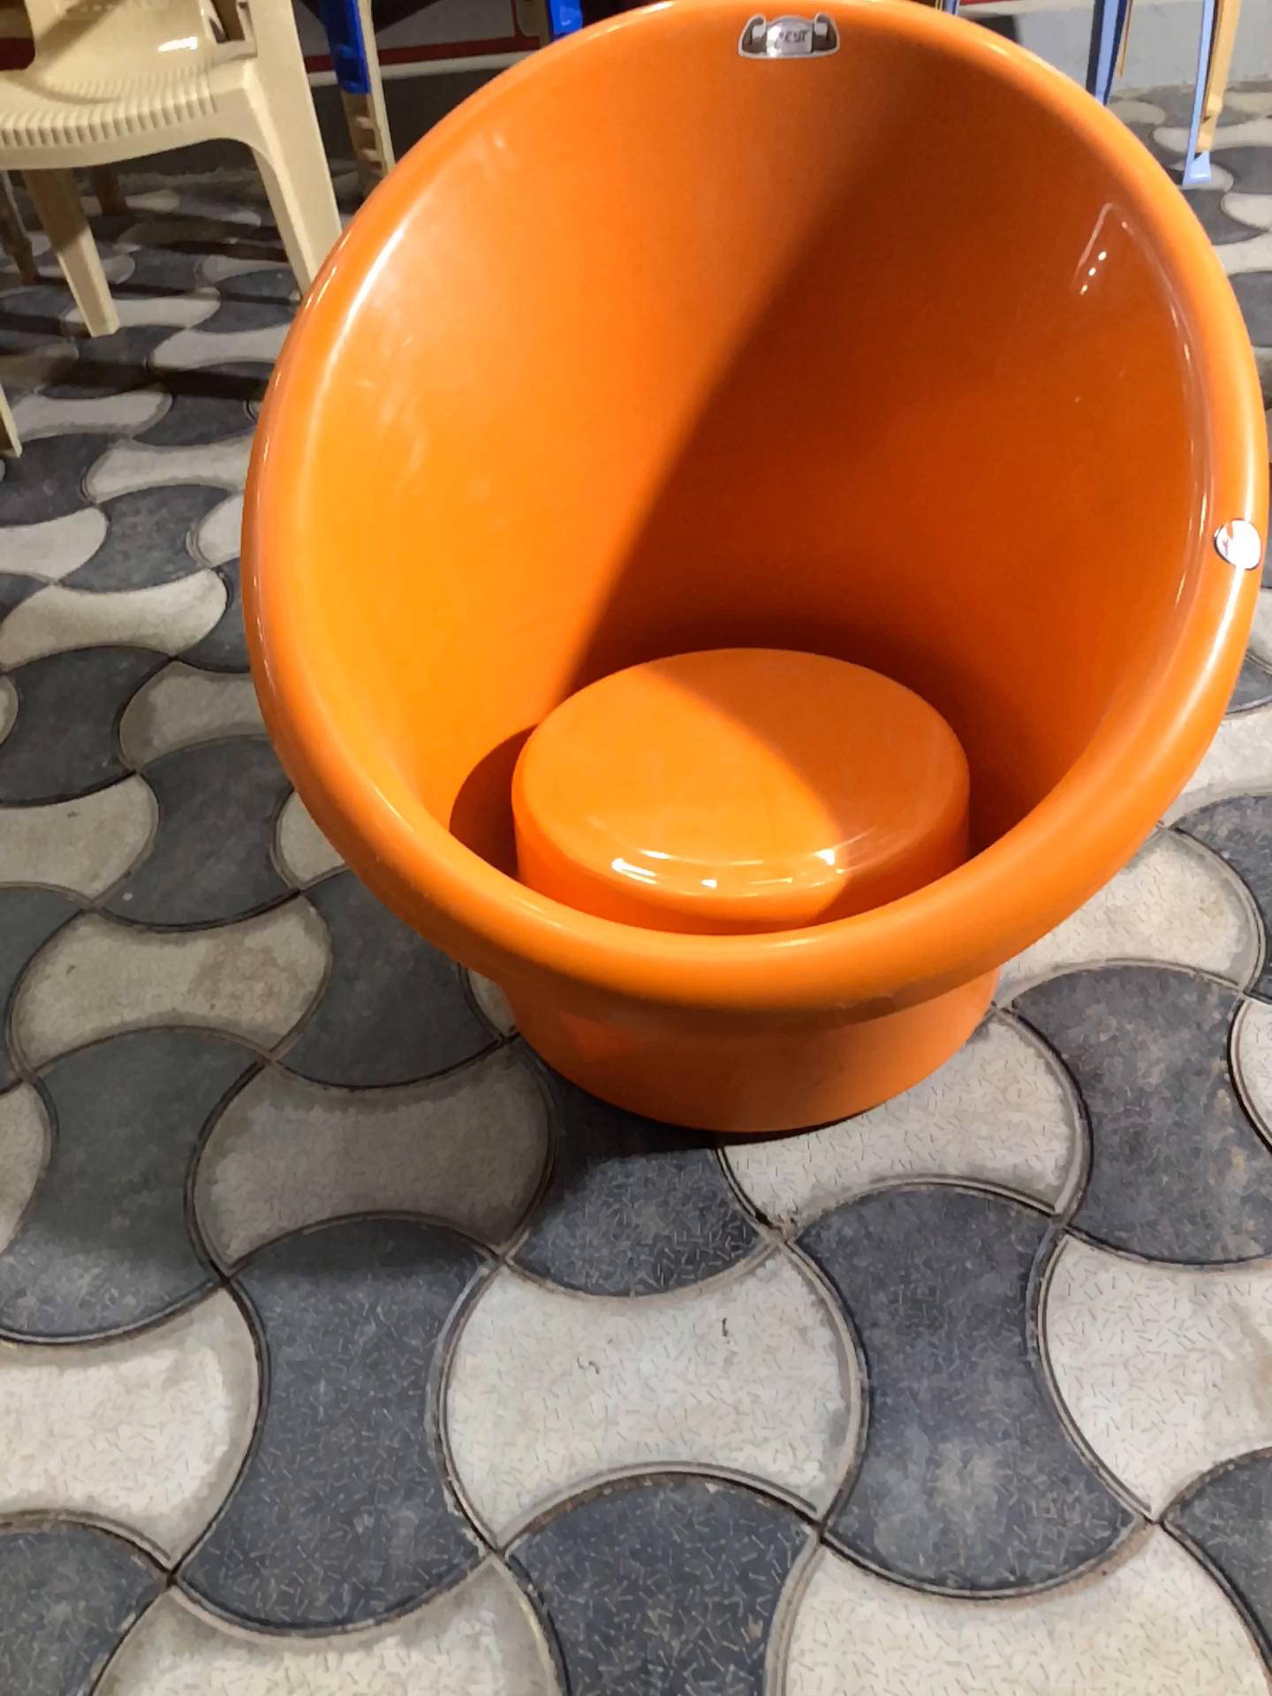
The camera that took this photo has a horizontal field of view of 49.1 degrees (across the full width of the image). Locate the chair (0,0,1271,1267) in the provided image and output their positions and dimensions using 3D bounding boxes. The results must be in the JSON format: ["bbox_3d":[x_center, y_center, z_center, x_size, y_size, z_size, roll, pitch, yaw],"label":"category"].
[{"bbox_3d":[0.025,-0.237,0.985,0.660,0.666,0.725,2,39,8],"label":"chair"}]
